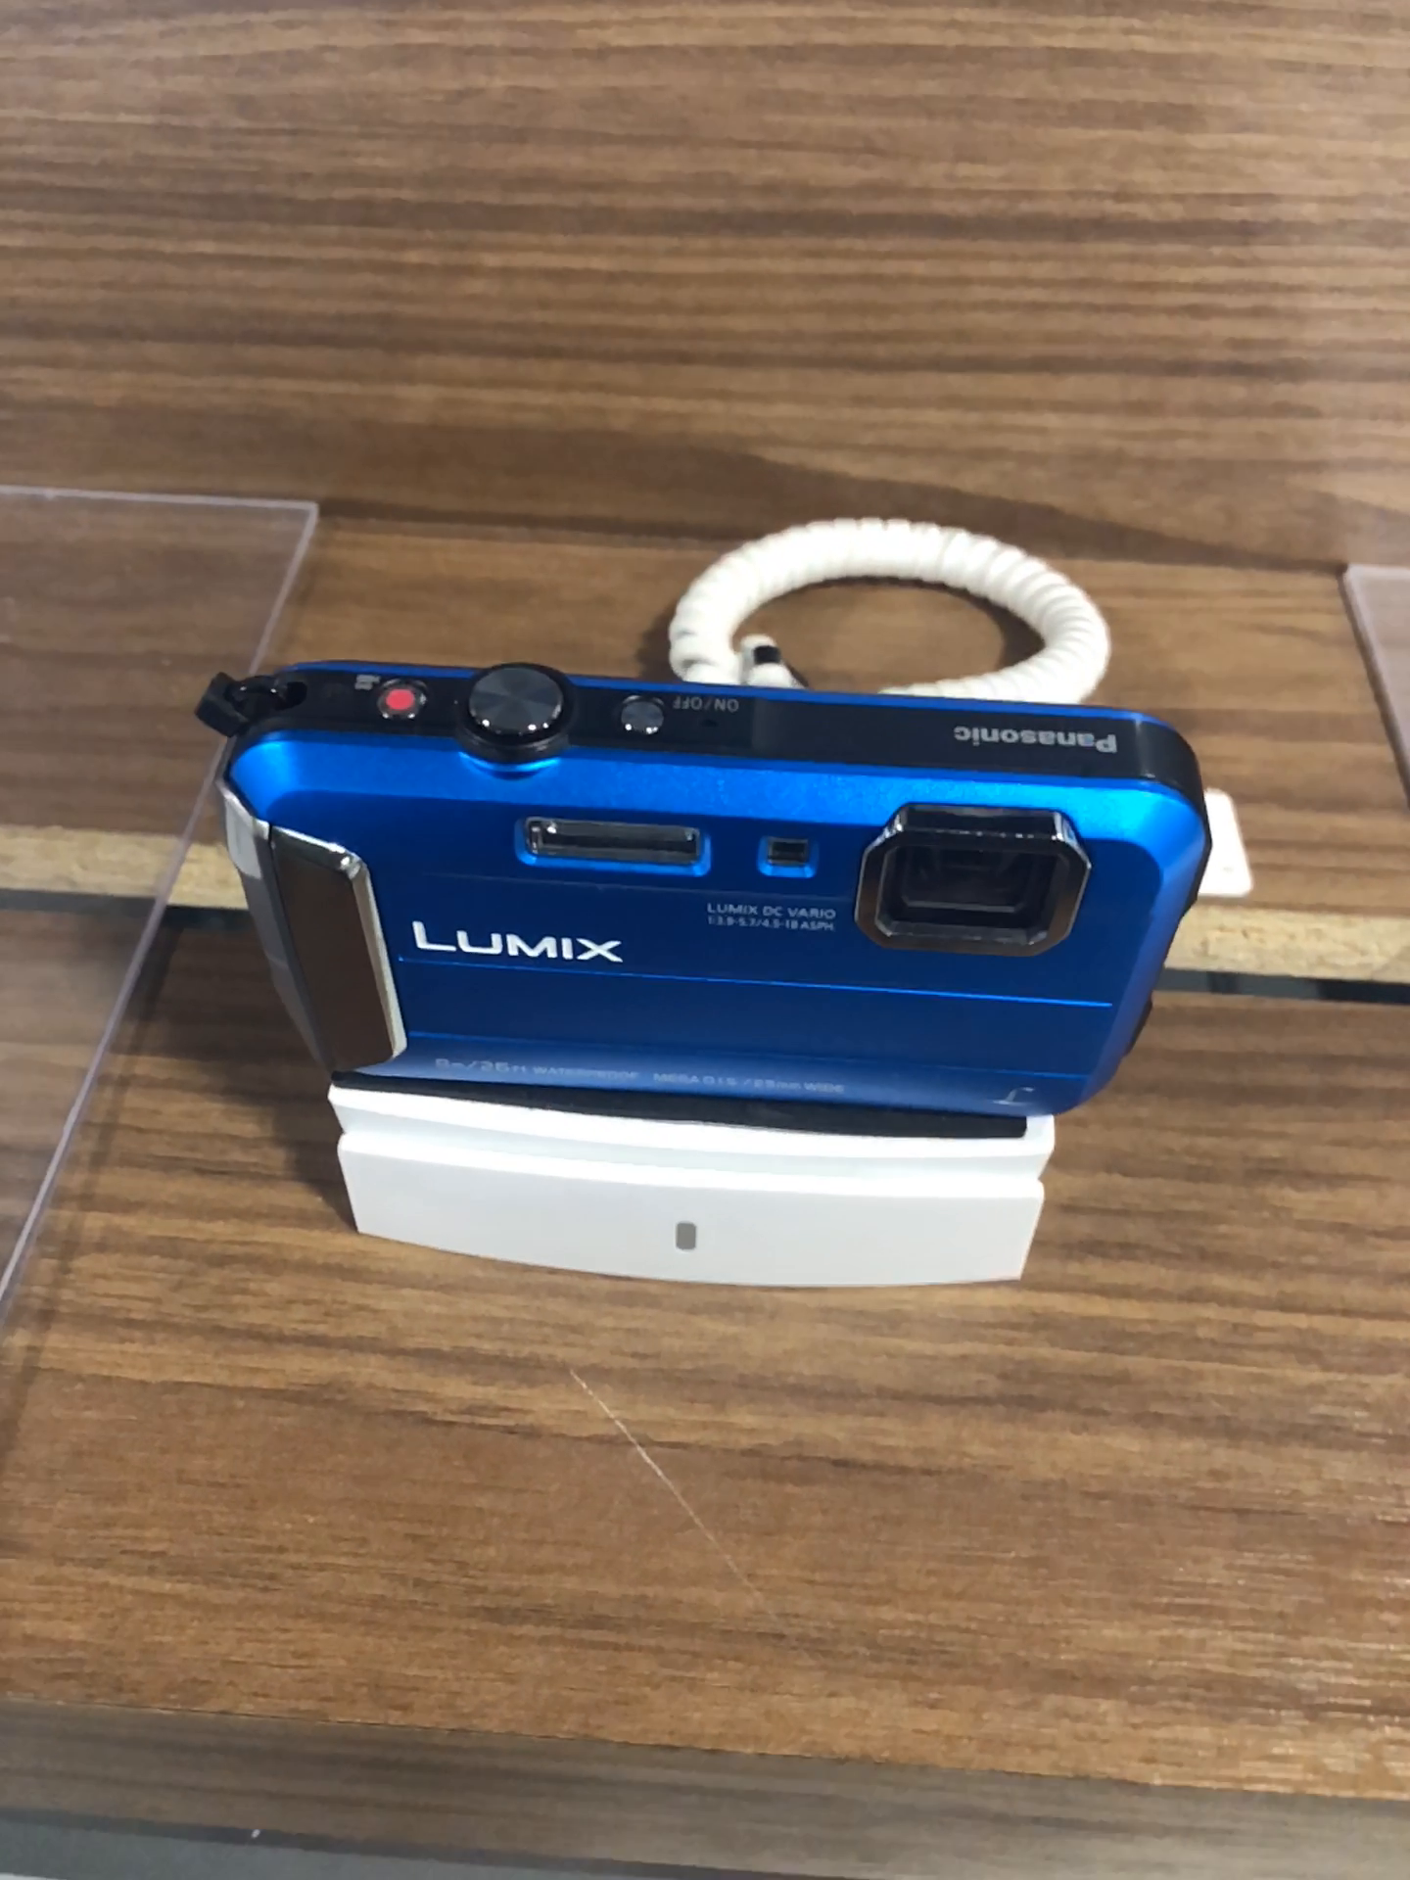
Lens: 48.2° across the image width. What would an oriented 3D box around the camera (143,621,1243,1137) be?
[{"bbox_3d":[-0.001,-0.005,0.171,0.100,0.051,0.023,3,53,1],"label":"camera"}]
